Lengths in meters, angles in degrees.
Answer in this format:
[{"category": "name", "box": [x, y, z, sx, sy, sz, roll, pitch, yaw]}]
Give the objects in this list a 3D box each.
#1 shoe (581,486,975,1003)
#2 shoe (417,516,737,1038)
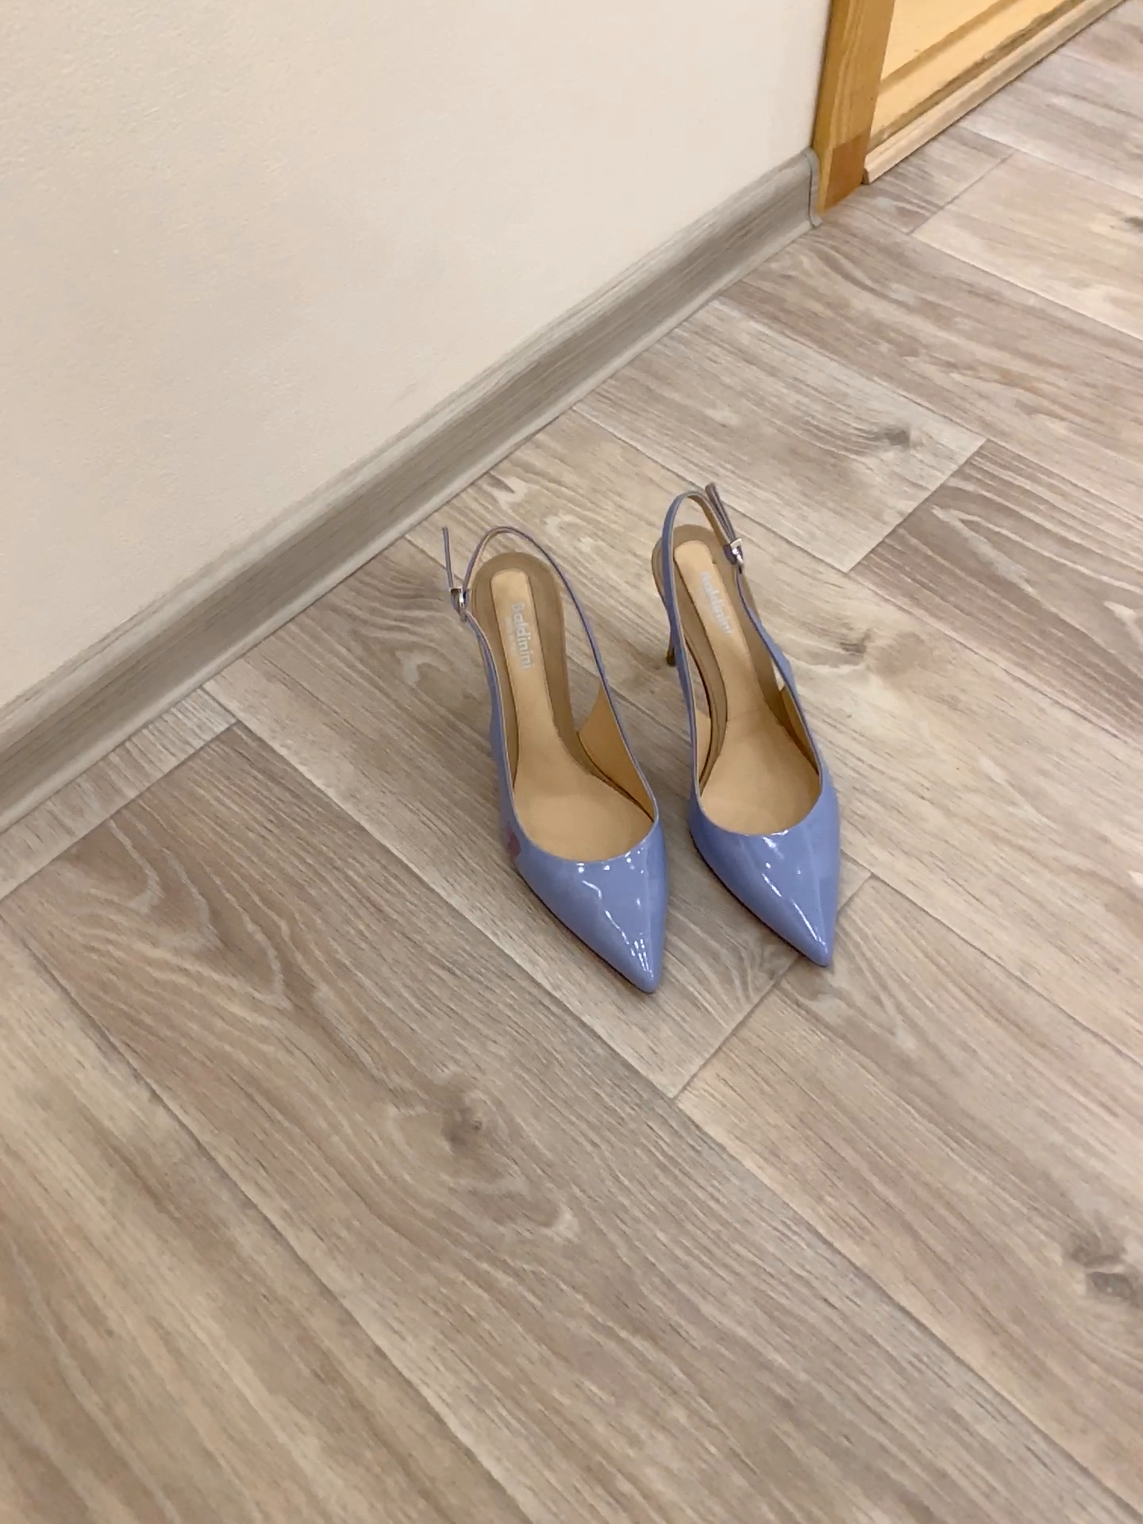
[{"category": "shoe", "box": [0.089, -0.015, 0.587, 0.089, 0.100, 0.231, -18, 57, -10]}, {"category": "shoe", "box": [-0.004, 0.001, 0.583, 0.089, 0.100, 0.231, -14, 56, -7]}]
